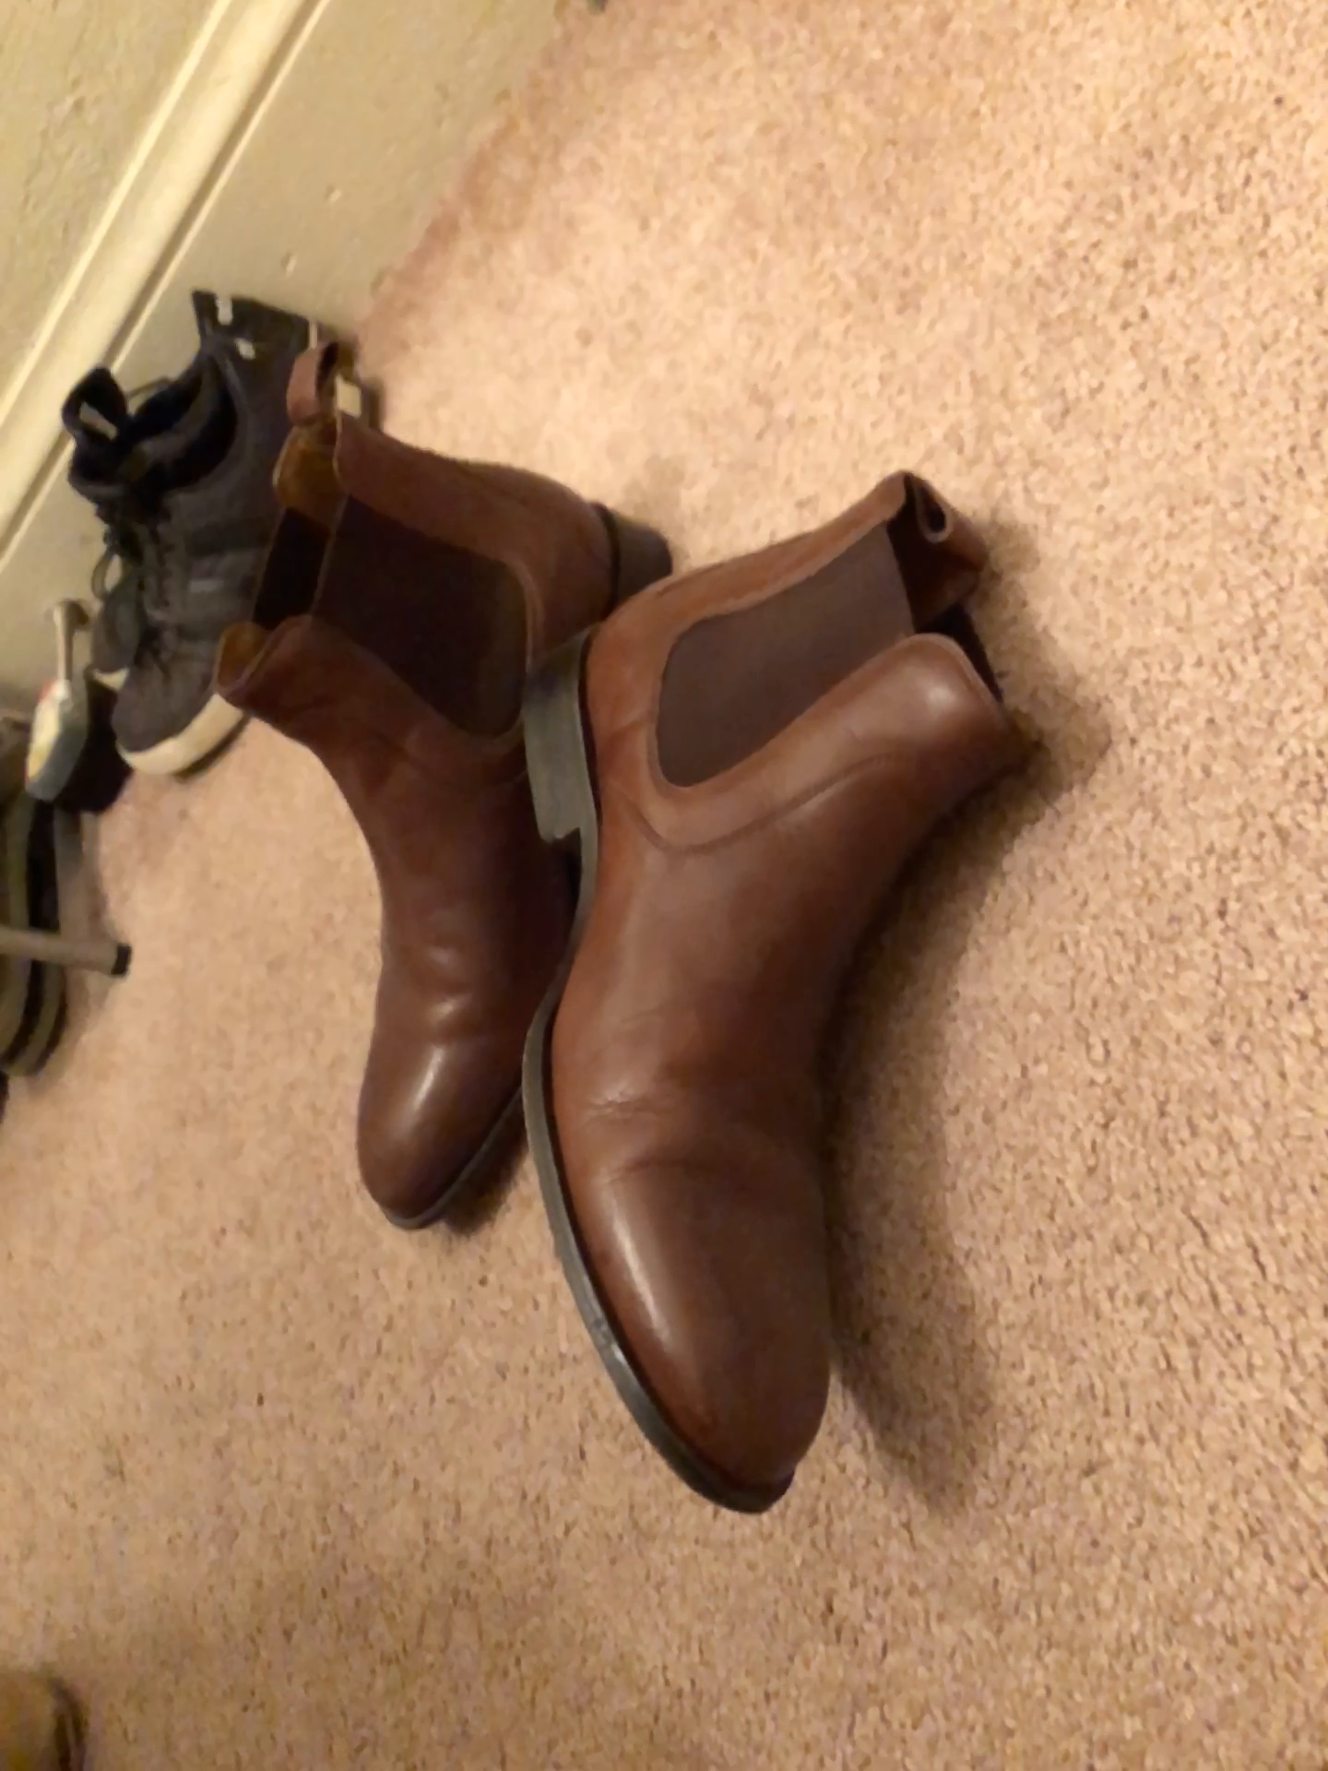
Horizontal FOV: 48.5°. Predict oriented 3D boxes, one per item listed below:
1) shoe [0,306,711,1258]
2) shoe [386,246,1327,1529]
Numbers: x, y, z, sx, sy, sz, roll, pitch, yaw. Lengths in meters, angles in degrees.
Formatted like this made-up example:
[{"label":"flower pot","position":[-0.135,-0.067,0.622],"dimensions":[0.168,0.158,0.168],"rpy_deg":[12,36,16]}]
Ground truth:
[{"label":"shoe","position":[-0.115,-0.030,0.553],"dimensions":[0.110,0.158,0.296],"rpy_deg":[12,84,51]},{"label":"shoe","position":[0.035,-0.001,0.417],"dimensions":[0.169,0.119,0.297],"rpy_deg":[-39,50,32]}]
